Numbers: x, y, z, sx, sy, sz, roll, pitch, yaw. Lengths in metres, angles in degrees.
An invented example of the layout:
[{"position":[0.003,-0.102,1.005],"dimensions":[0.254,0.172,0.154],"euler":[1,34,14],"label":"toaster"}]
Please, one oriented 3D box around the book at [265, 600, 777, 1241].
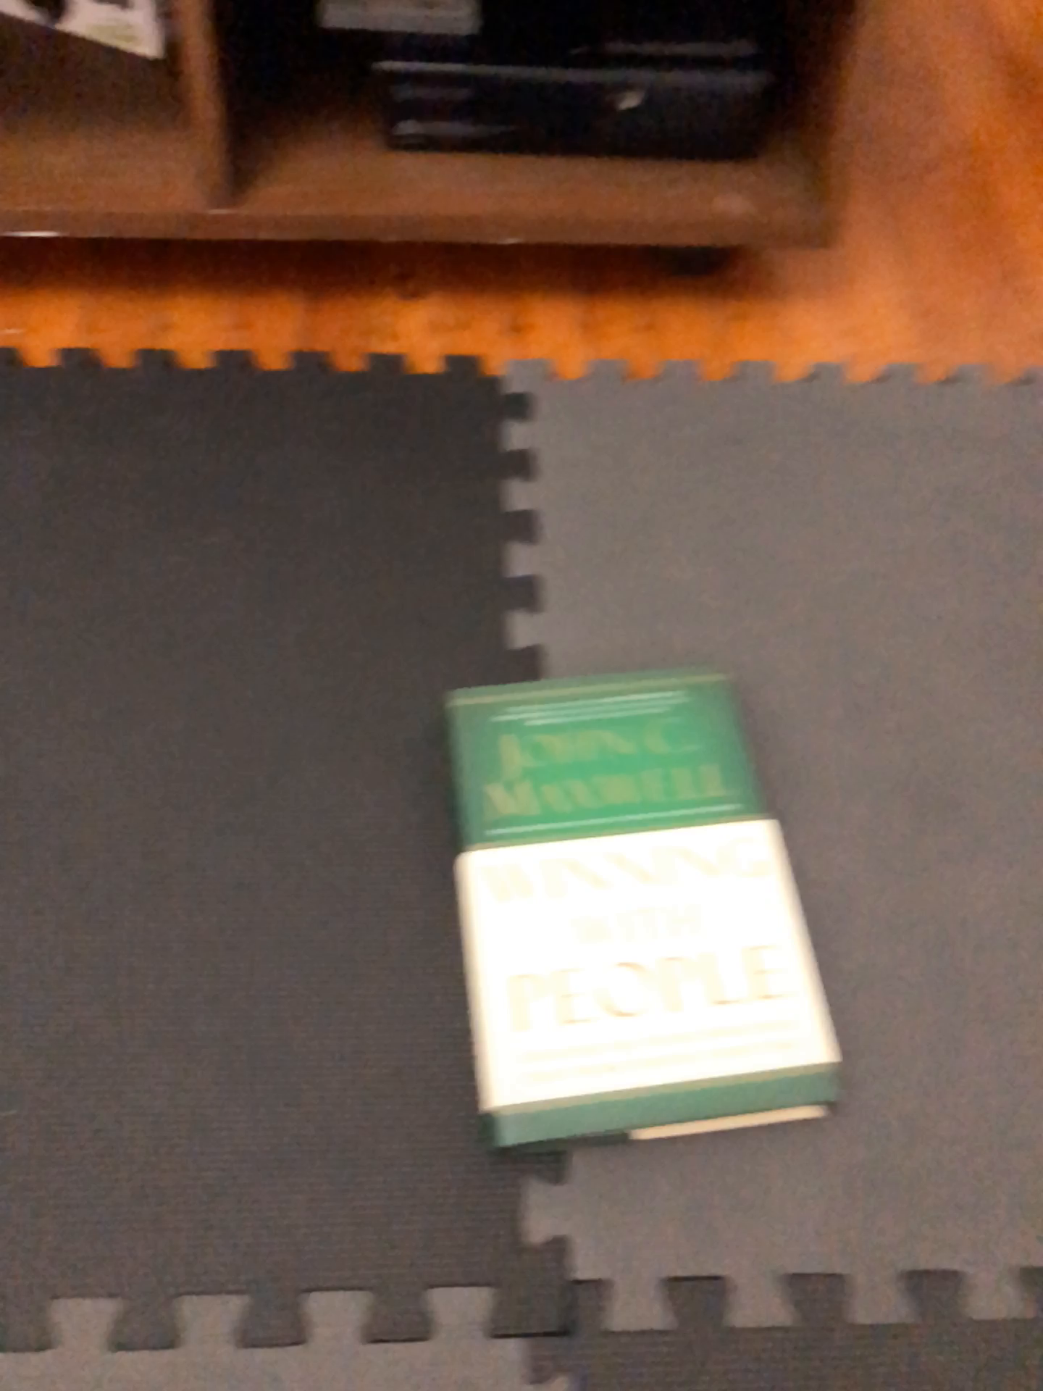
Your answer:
[{"position":[-0.012,0.085,0.541],"dimensions":[0.200,0.030,0.291],"euler":[-3,57,-5],"label":"book"}]
